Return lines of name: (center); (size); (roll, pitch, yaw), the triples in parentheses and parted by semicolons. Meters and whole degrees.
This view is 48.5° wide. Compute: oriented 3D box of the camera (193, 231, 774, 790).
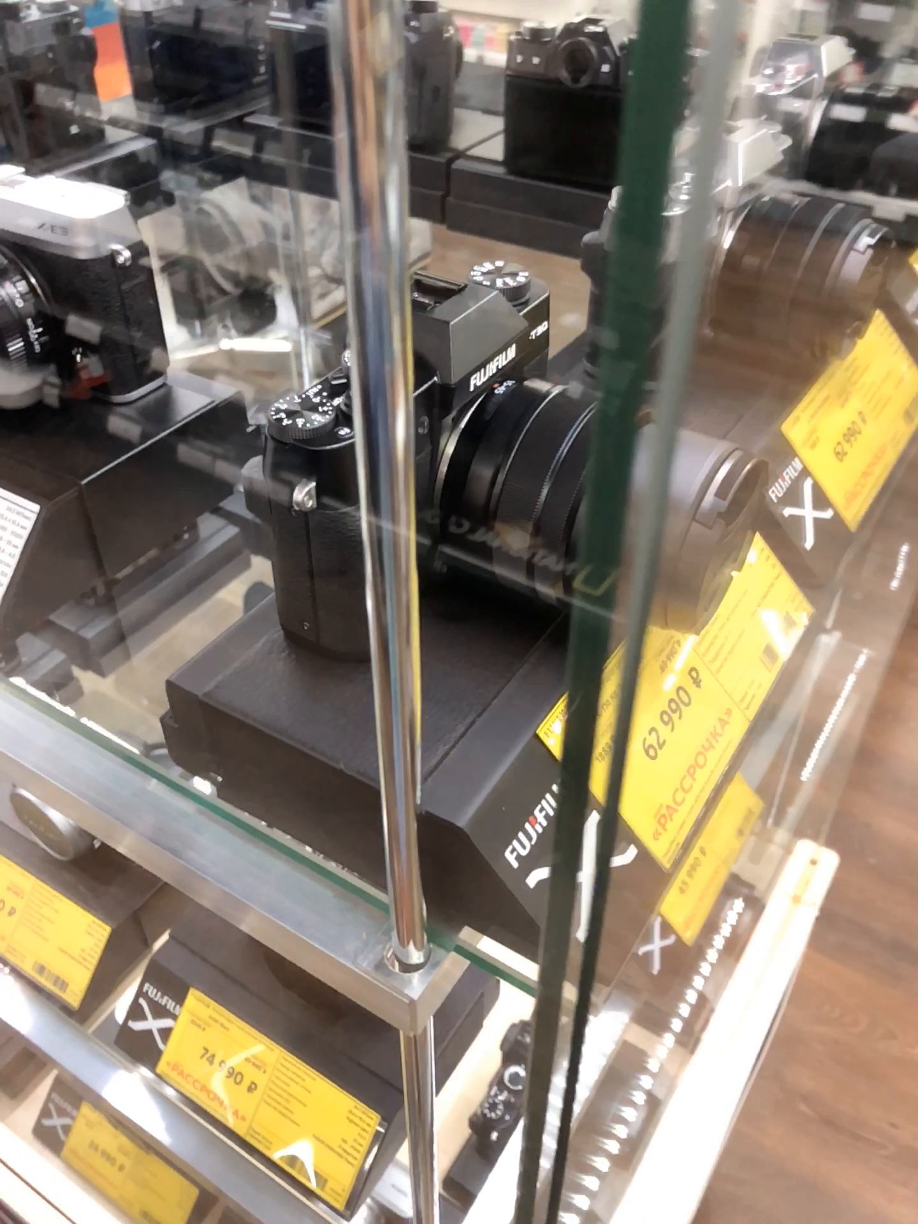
camera: (0.011, -0.038, 0.295); (0.110, 0.090, 0.114); (21, 44, 23)

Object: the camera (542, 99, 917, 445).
camera: (0.111, -0.141, 0.404); (0.108, 0.078, 0.114); (23, 45, 25)

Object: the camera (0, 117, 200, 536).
camera: (-0.186, -0.112, 0.374); (0.114, 0.090, 0.120); (22, 44, 24)
